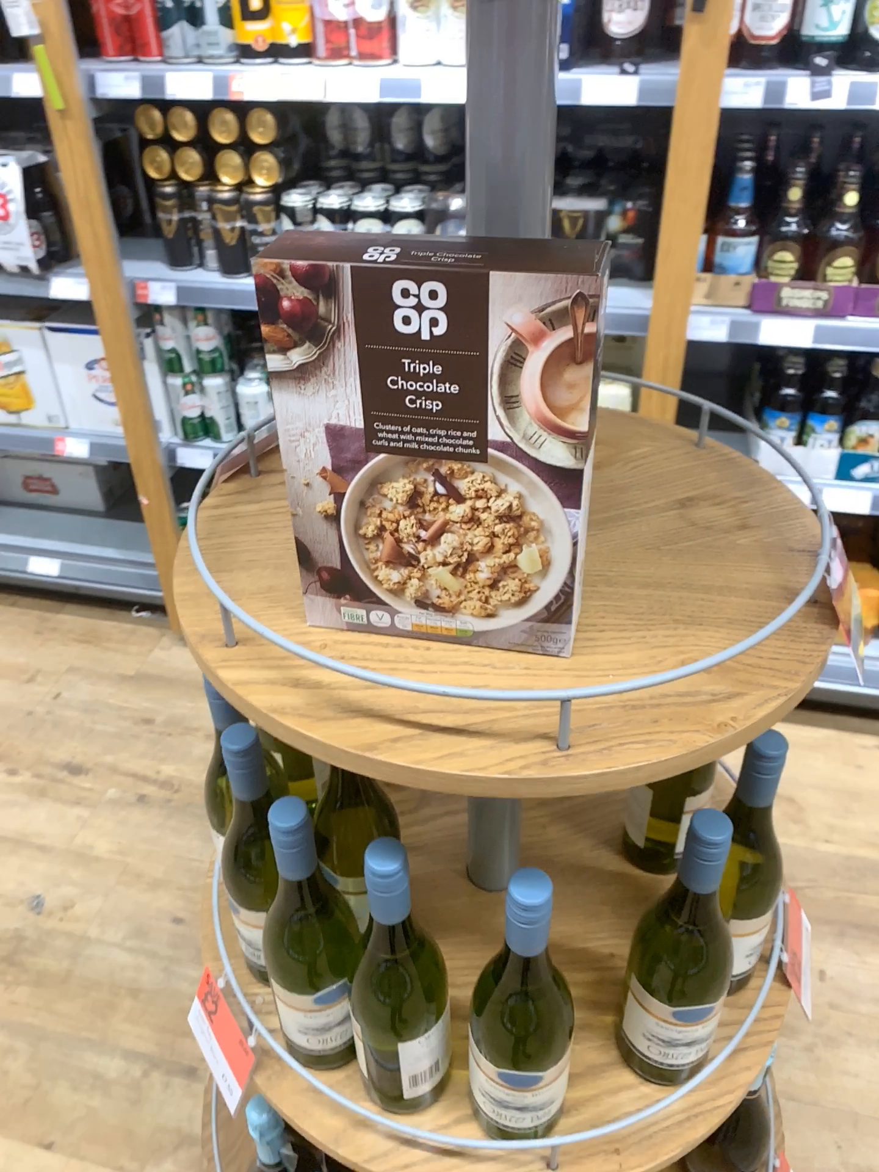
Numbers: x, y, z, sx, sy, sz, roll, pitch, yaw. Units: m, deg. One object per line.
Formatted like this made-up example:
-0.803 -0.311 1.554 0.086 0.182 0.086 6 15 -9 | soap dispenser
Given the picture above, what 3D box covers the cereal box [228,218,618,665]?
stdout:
-0.005 -0.076 0.529 0.190 0.248 0.050 7 38 11 | cereal box
